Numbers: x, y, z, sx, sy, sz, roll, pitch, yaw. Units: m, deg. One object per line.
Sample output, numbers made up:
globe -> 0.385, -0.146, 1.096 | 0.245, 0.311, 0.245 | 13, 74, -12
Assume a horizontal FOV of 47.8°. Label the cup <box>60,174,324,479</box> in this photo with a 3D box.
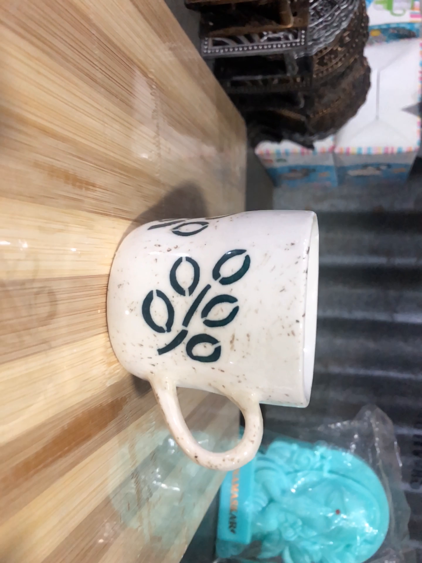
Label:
cup -> 0.005, 0.021, 0.181 | 0.080, 0.070, 0.090 | 63, 32, -64
